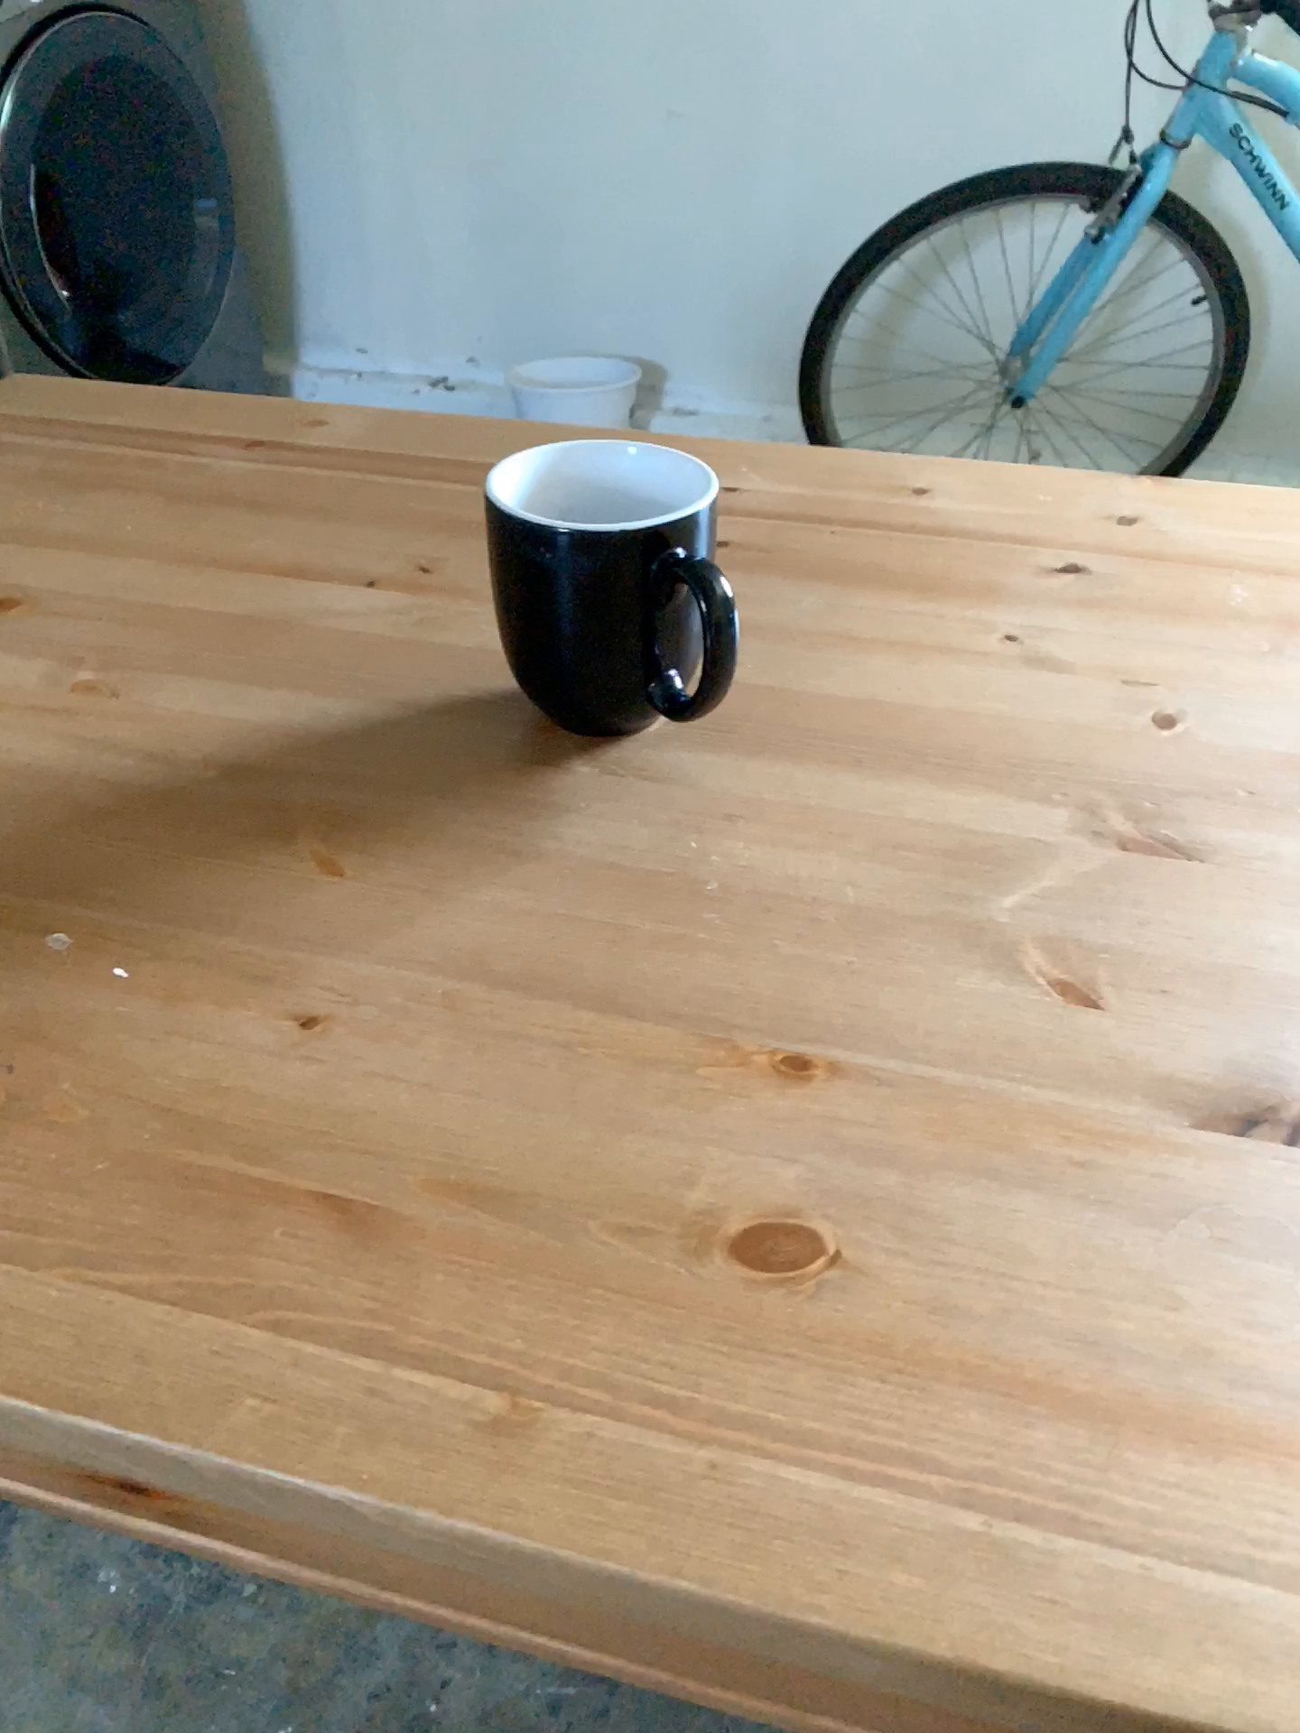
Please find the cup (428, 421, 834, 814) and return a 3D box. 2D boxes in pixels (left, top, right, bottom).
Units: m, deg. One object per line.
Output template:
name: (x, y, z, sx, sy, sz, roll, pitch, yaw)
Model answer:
cup: (-0.010, -0.114, 0.580, 0.100, 0.099, 0.141, -29, 46, -31)
